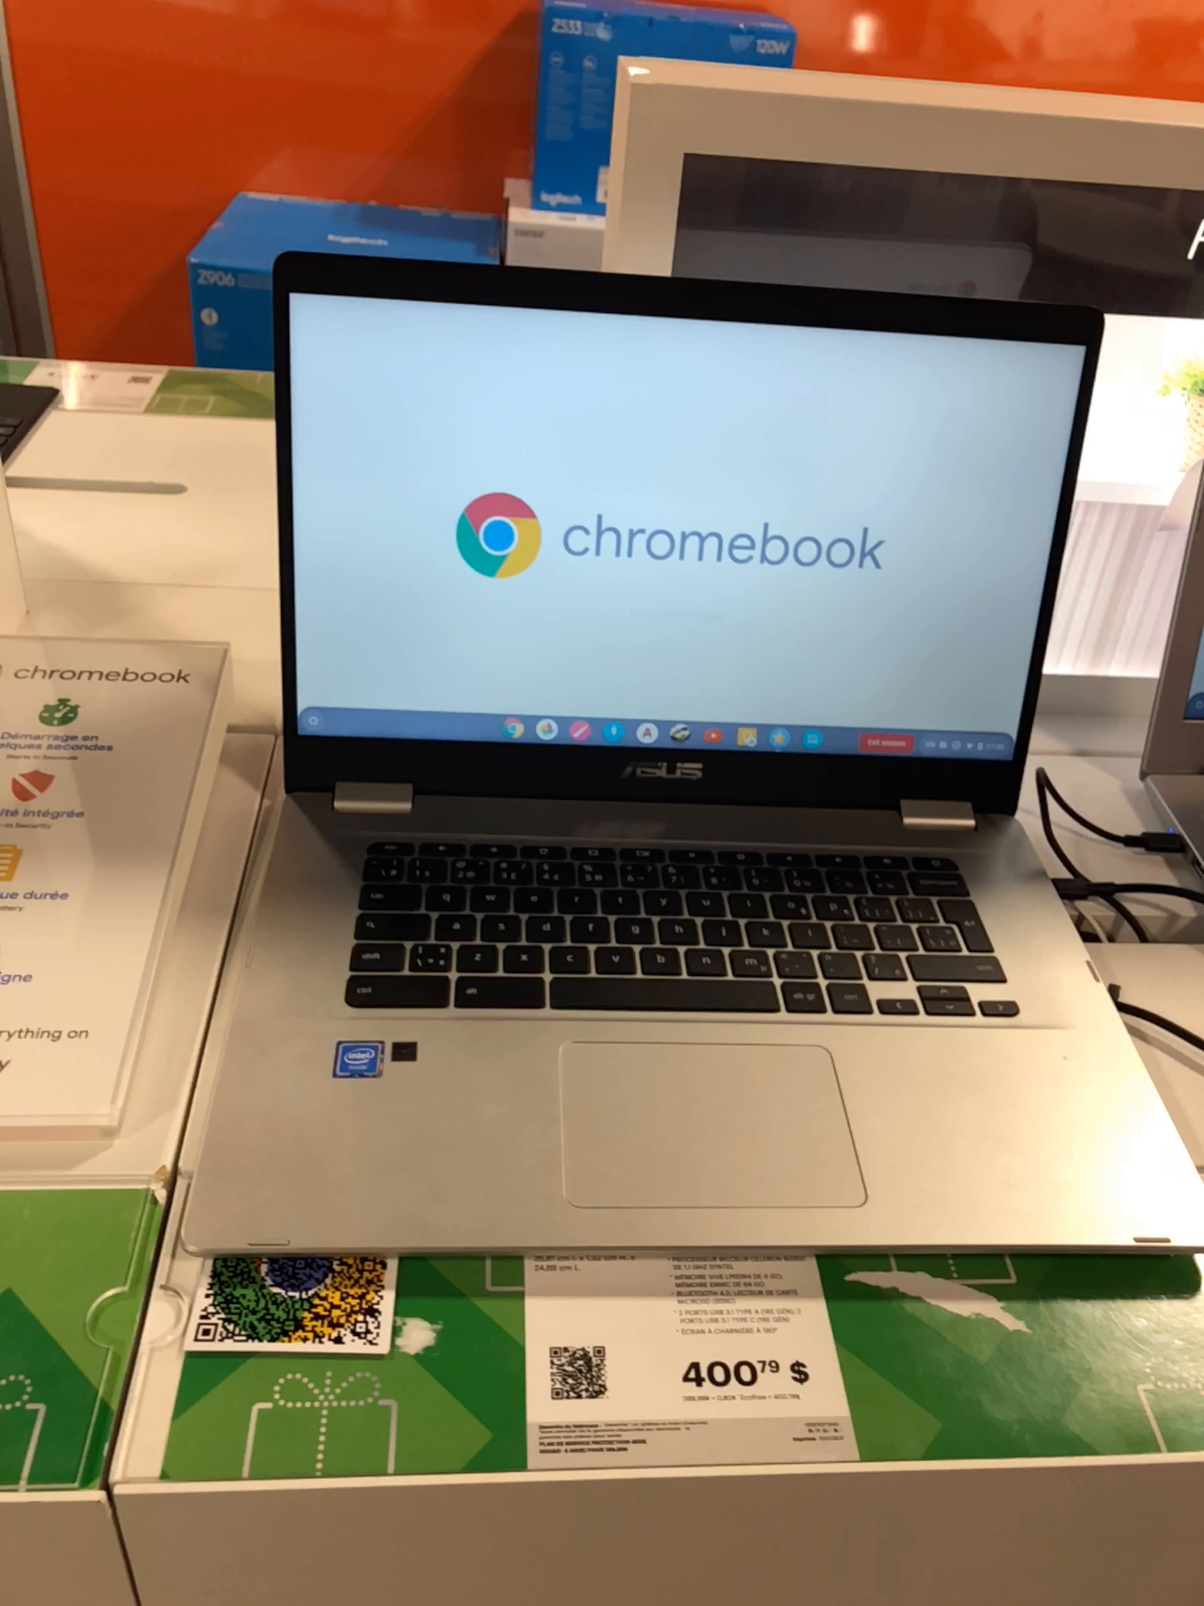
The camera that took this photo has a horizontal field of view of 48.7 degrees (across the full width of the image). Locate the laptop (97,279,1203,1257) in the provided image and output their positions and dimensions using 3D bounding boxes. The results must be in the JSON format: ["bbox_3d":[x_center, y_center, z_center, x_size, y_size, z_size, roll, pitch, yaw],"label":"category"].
[{"bbox_3d":[0.046,-0.031,0.488,0.337,0.225,0.287,1,36,-5],"label":"laptop"}]
